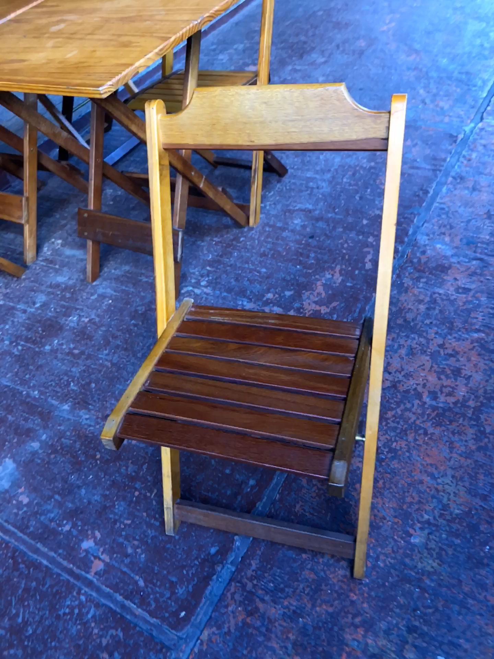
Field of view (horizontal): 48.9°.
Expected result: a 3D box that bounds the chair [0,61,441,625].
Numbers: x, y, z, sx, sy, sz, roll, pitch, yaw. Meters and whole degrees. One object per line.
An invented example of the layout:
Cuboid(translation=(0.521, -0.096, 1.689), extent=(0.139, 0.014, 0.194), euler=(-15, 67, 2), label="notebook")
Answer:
Cuboid(translation=(0.017, 0.045, 0.880), extent=(0.450, 0.736, 0.472), euler=(8, 47, 18), label="chair")
